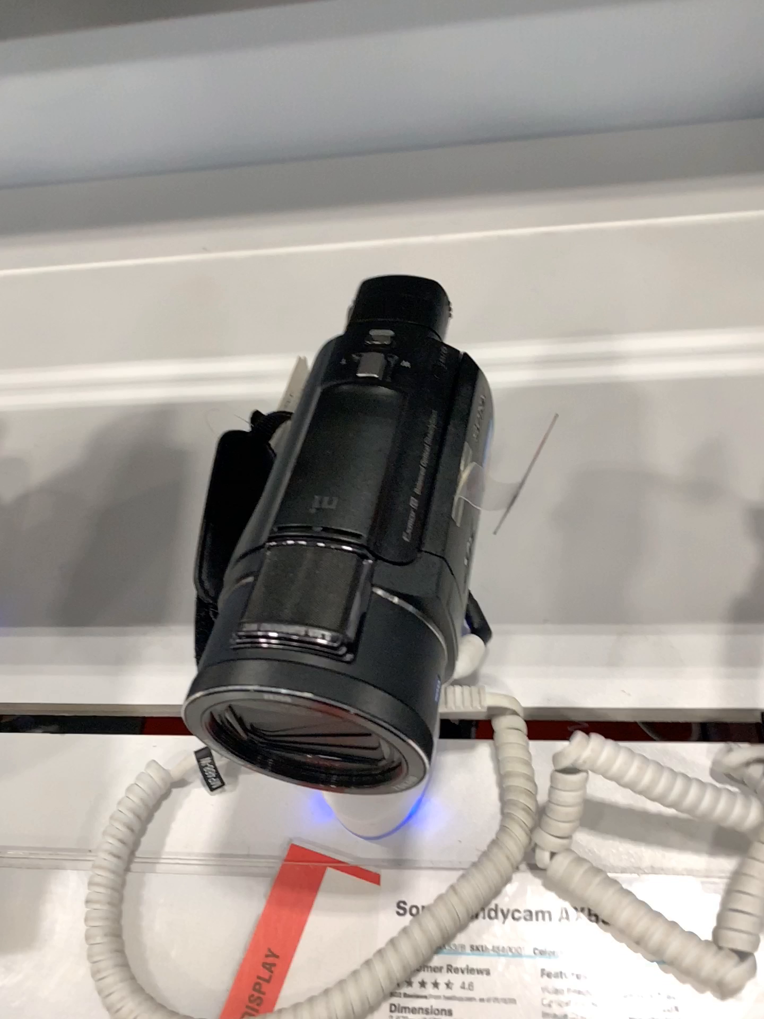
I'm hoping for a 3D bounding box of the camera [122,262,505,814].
[{"bbox_3d":[-0.006,0.000,0.244,0.070,0.071,0.151,5,53,13],"label":"camera"}]
